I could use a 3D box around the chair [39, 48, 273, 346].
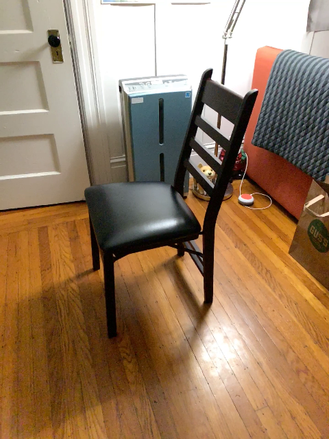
[{"bbox_3d":[-0.062,-0.092,1.221,0.550,0.865,0.493,-12,36,-17],"label":"chair"}]
